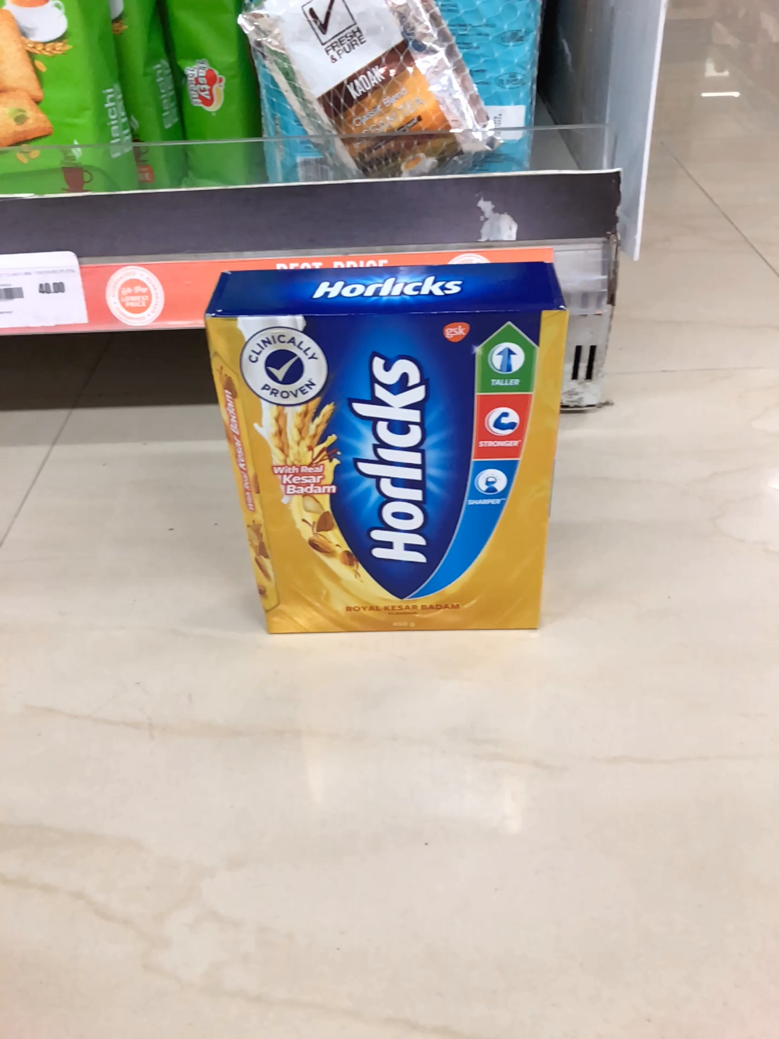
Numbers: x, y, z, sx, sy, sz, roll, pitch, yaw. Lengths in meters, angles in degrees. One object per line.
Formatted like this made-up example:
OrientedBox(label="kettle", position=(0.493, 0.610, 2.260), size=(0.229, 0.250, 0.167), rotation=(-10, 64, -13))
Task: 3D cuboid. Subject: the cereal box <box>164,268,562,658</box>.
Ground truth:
OrientedBox(label="cereal box", position=(-0.008, -0.018, 0.398), size=(0.150, 0.179, 0.050), rotation=(-1, 37, 1))
